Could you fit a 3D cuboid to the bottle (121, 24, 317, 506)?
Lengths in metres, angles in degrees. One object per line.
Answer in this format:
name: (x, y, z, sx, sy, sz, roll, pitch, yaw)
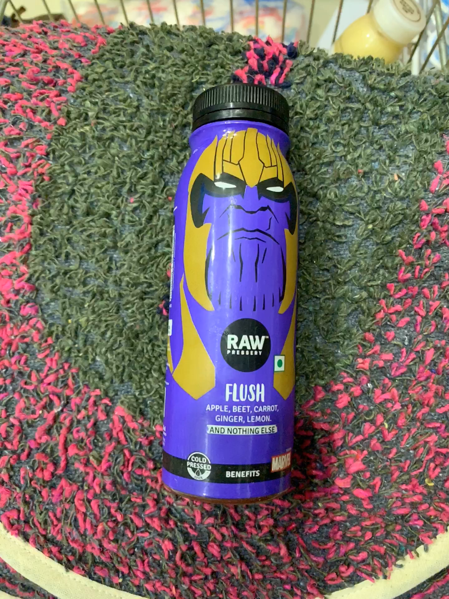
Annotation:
bottle: (-0.001, -0.014, 0.191, 0.060, 0.050, 0.170, 4, 83, -4)
